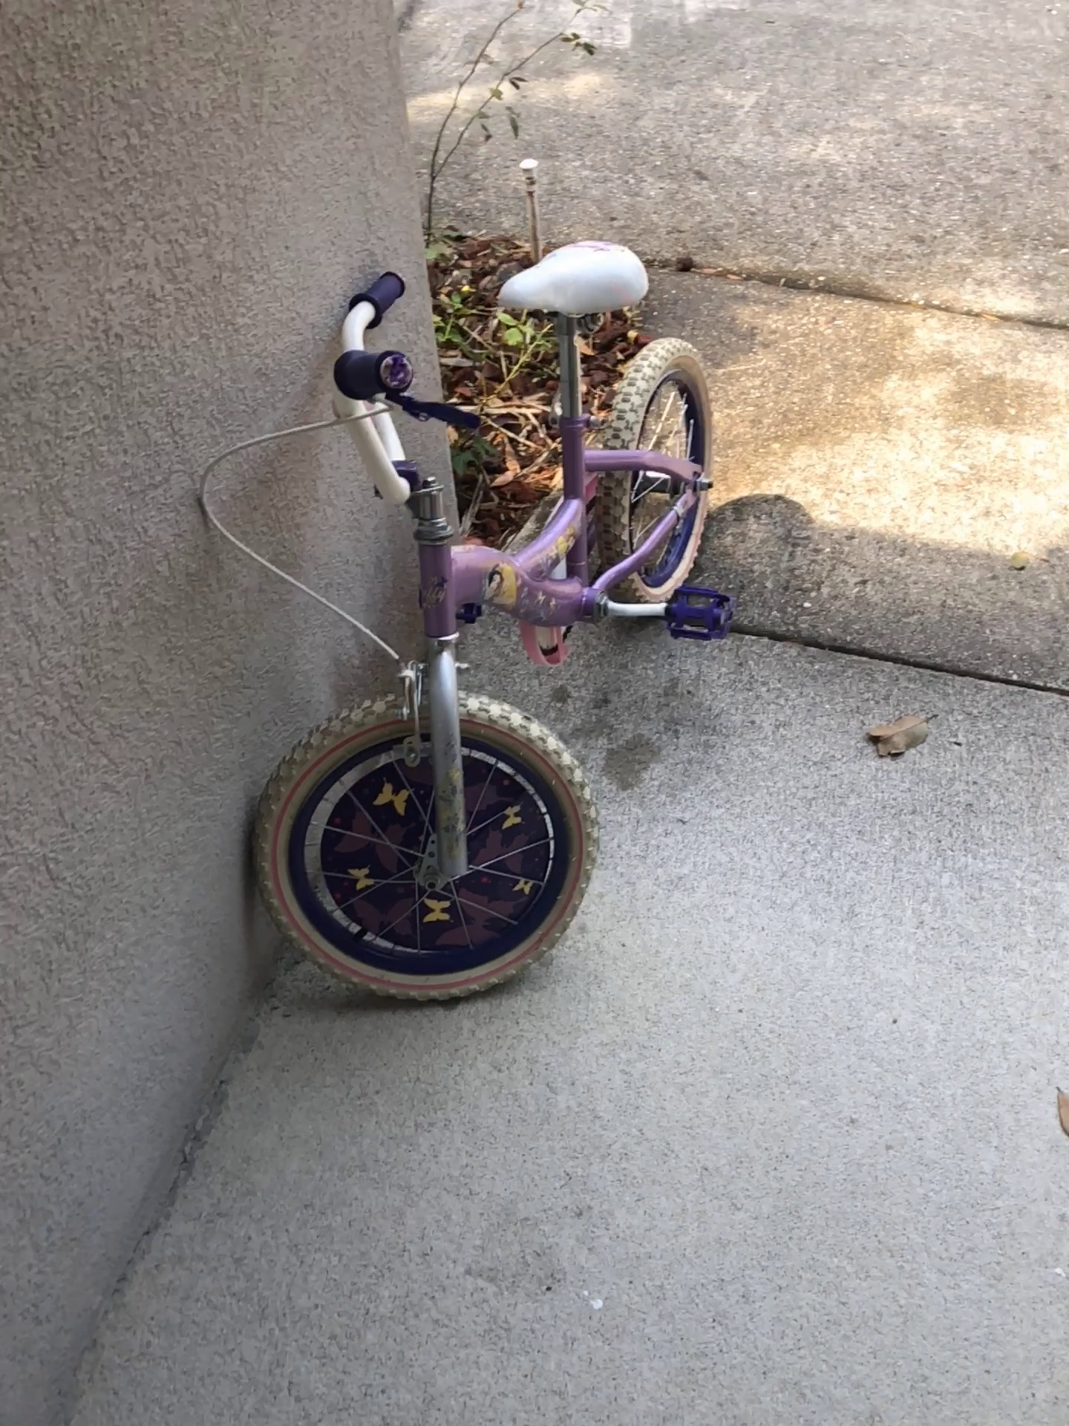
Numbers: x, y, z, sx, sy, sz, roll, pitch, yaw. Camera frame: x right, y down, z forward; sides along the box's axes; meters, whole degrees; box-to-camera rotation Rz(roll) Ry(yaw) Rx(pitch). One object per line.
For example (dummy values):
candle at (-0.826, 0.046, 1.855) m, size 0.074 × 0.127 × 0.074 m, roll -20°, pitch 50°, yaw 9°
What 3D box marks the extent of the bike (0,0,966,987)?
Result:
bike at (0.026, -0.332, 1.421) m, size 0.616 × 0.817 × 0.849 m, roll 19°, pitch 54°, yaw 18°
